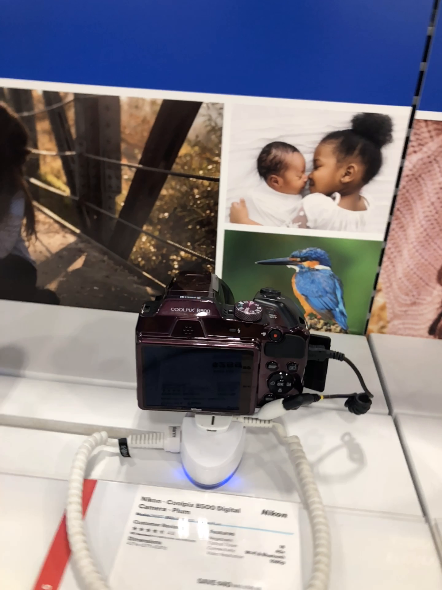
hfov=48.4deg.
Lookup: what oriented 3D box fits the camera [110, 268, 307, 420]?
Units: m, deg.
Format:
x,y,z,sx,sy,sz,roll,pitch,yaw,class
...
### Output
x,y,z,sx,sy,sz,roll,pitch,yaw,class
-0.008,0.030,0.357,0.120,0.060,0.101,3,26,-1,camera
